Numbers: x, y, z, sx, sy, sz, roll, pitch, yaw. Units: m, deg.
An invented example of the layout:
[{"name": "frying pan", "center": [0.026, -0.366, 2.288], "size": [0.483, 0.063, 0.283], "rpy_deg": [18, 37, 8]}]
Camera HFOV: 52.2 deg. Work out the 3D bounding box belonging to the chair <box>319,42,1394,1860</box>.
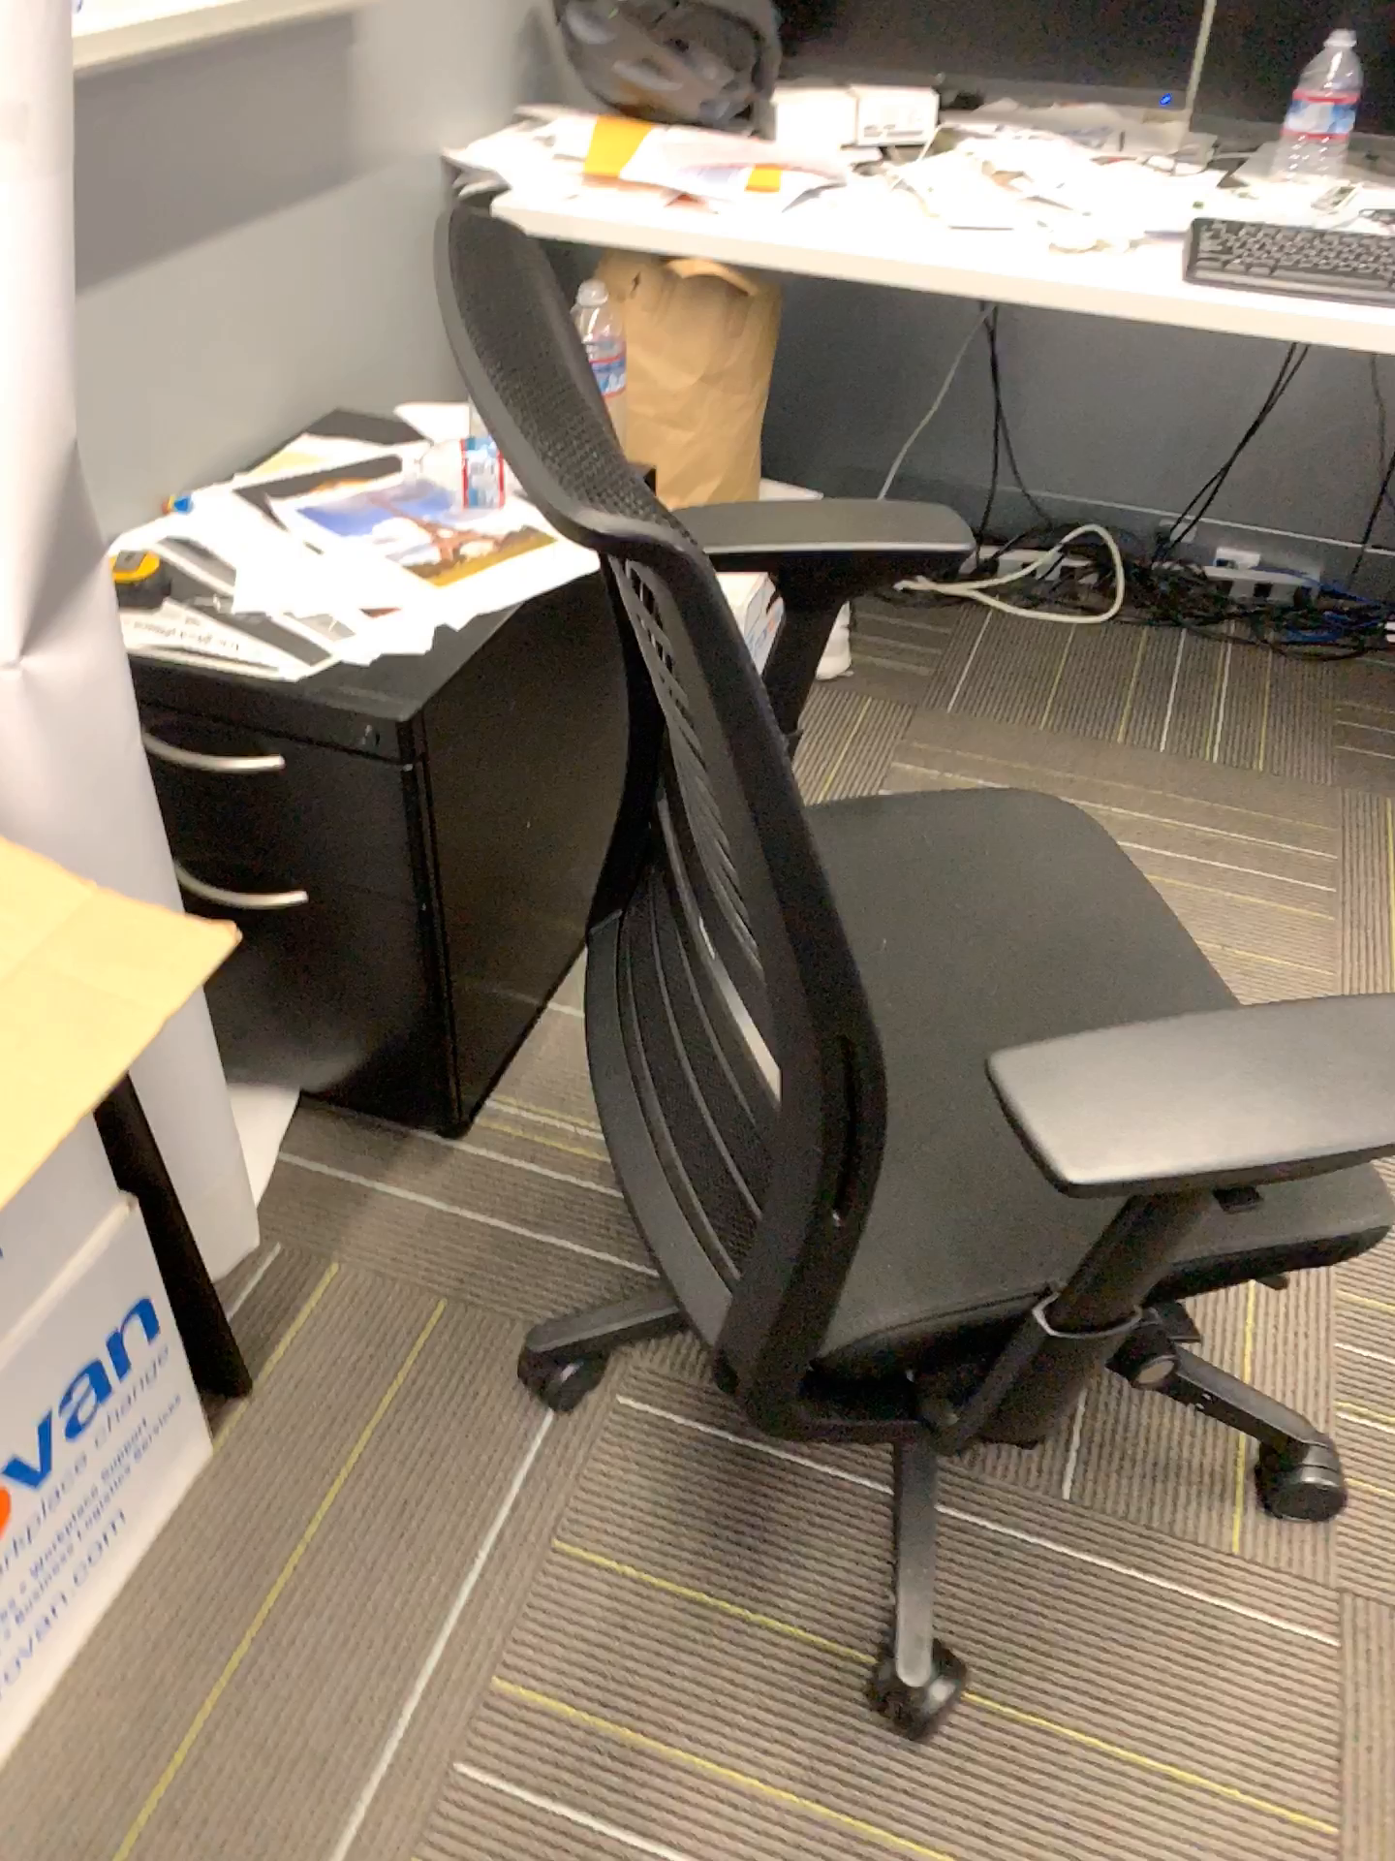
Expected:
[{"name": "chair", "center": [0.192, -0.009, 0.968], "size": [0.680, 0.915, 0.664], "rpy_deg": [-11, 42, -15]}]
